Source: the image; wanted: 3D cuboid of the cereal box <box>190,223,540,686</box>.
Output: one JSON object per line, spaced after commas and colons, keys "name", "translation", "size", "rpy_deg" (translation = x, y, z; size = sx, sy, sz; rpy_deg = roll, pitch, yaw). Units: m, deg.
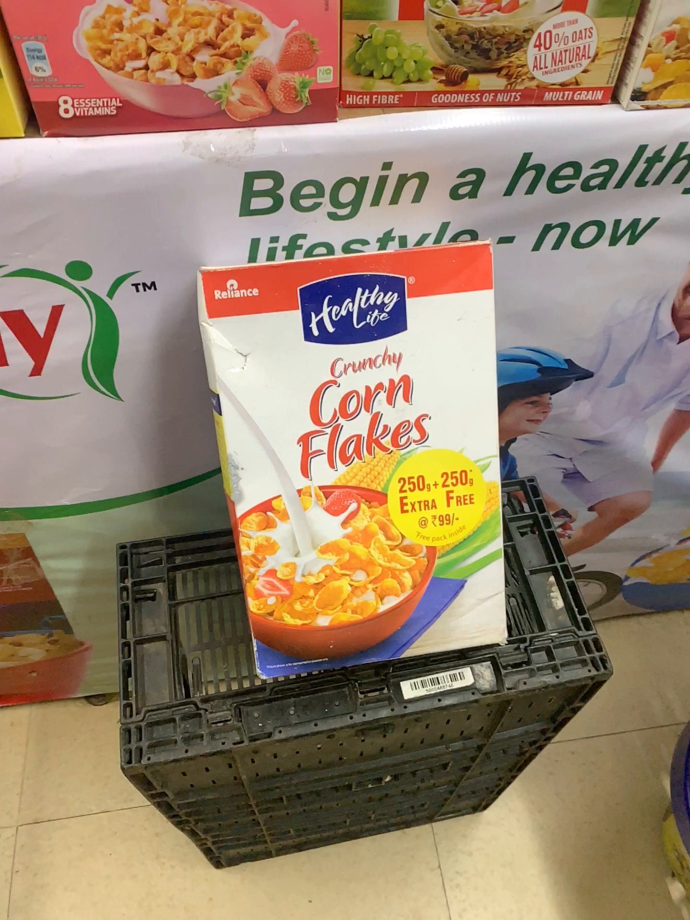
{"name": "cereal box", "translation": [0.017, -0.007, 0.502], "size": [0.200, 0.280, 0.100], "rpy_deg": [-7, 13, -5]}
